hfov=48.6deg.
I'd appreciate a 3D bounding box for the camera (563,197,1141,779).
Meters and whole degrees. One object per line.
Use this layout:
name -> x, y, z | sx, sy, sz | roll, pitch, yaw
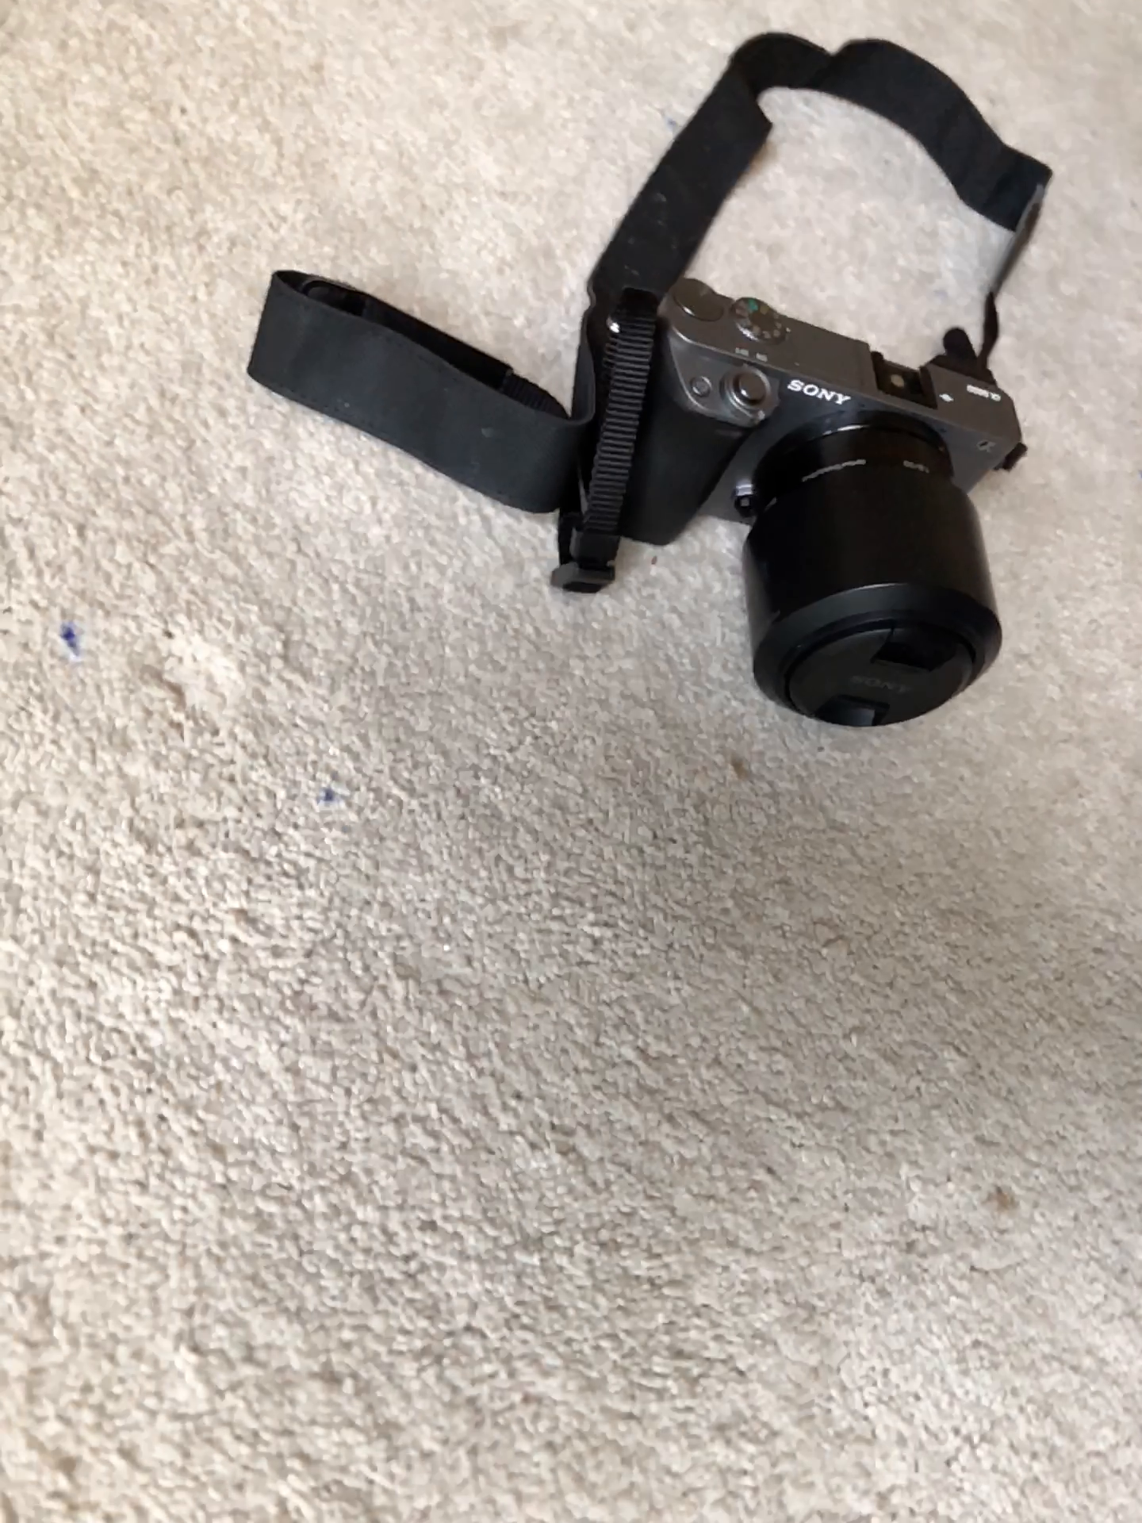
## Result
camera -> 0.074, -0.076, 0.375 | 0.130, 0.080, 0.120 | 10, 58, -19
